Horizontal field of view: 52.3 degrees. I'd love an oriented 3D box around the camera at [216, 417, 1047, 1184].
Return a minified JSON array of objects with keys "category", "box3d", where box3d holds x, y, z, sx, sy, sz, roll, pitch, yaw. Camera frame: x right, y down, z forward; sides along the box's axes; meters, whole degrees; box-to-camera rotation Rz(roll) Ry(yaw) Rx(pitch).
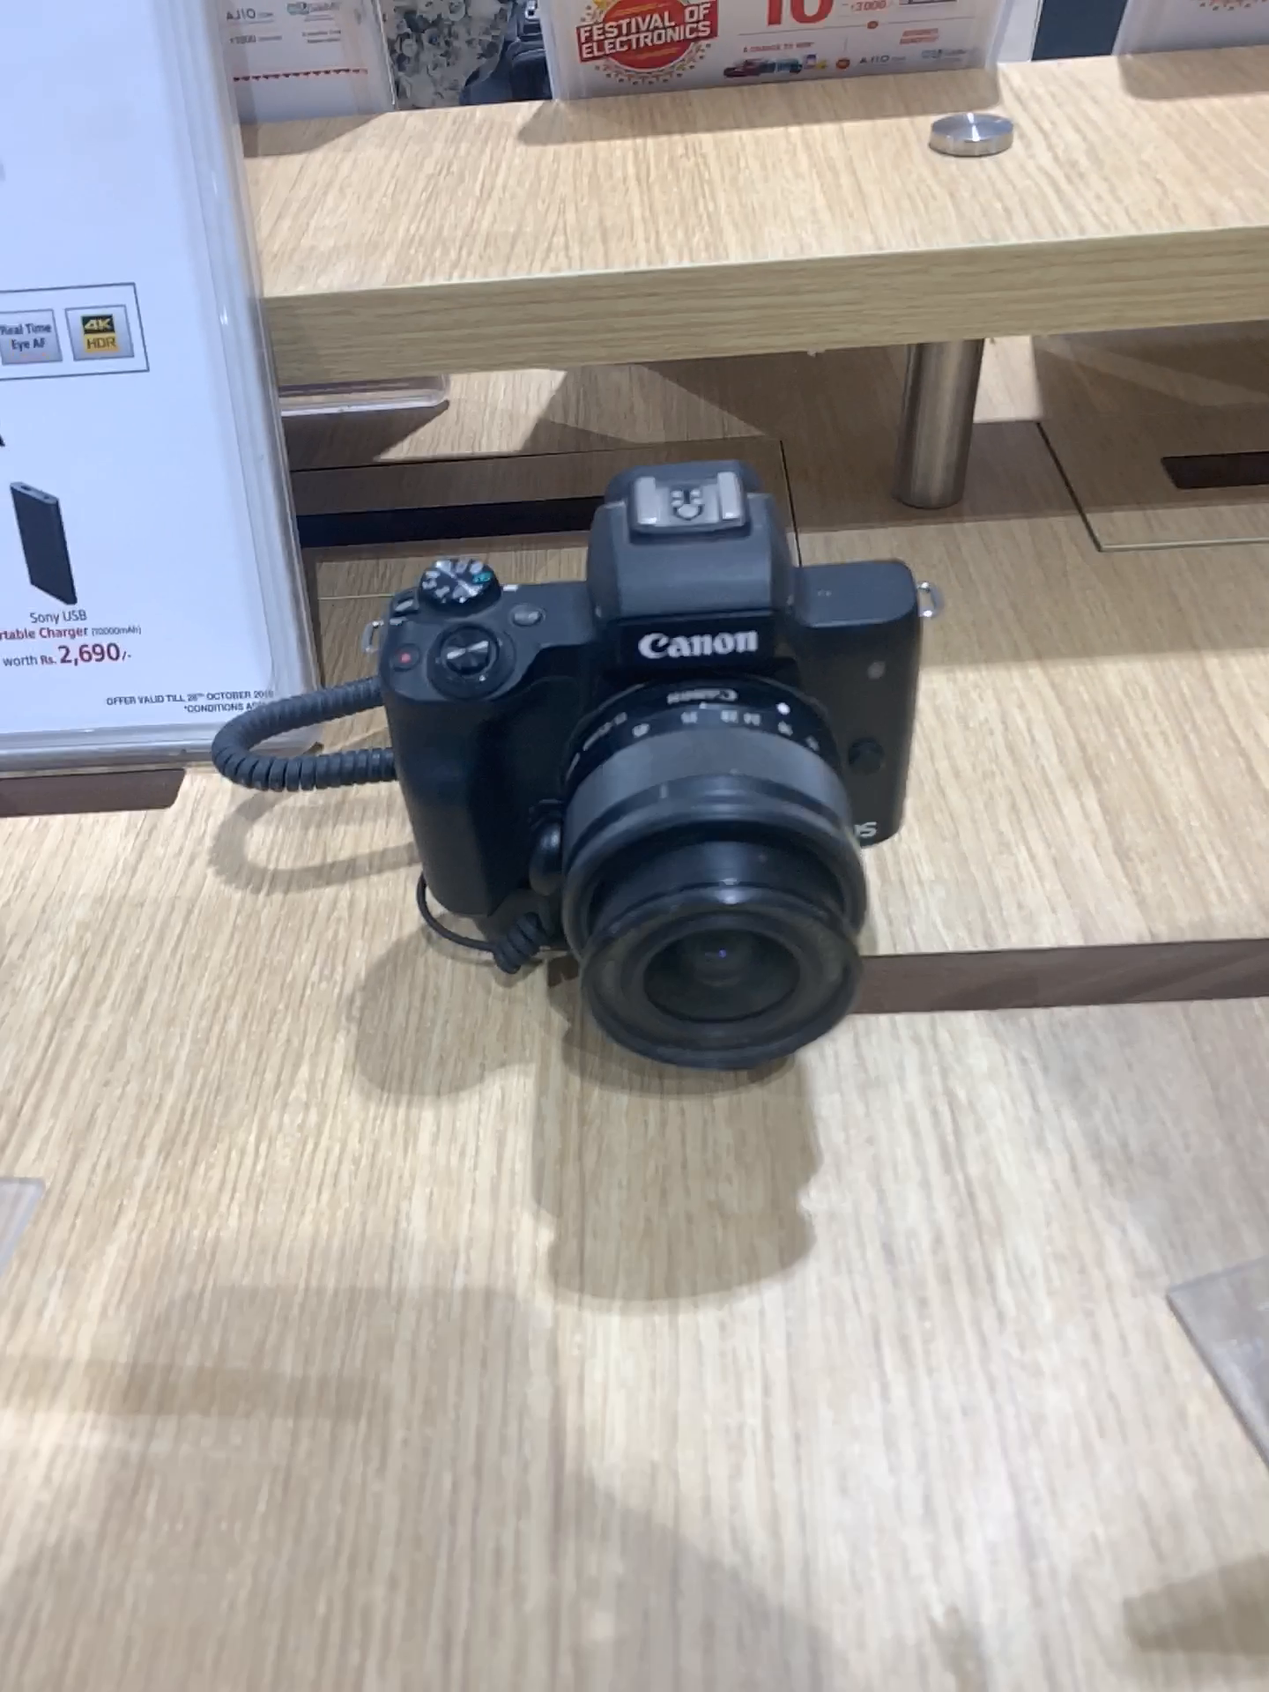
[{"category":"camera","box3d":[-0.001,-0.010,0.257,0.120,0.100,0.100,-5,44,0]}]
